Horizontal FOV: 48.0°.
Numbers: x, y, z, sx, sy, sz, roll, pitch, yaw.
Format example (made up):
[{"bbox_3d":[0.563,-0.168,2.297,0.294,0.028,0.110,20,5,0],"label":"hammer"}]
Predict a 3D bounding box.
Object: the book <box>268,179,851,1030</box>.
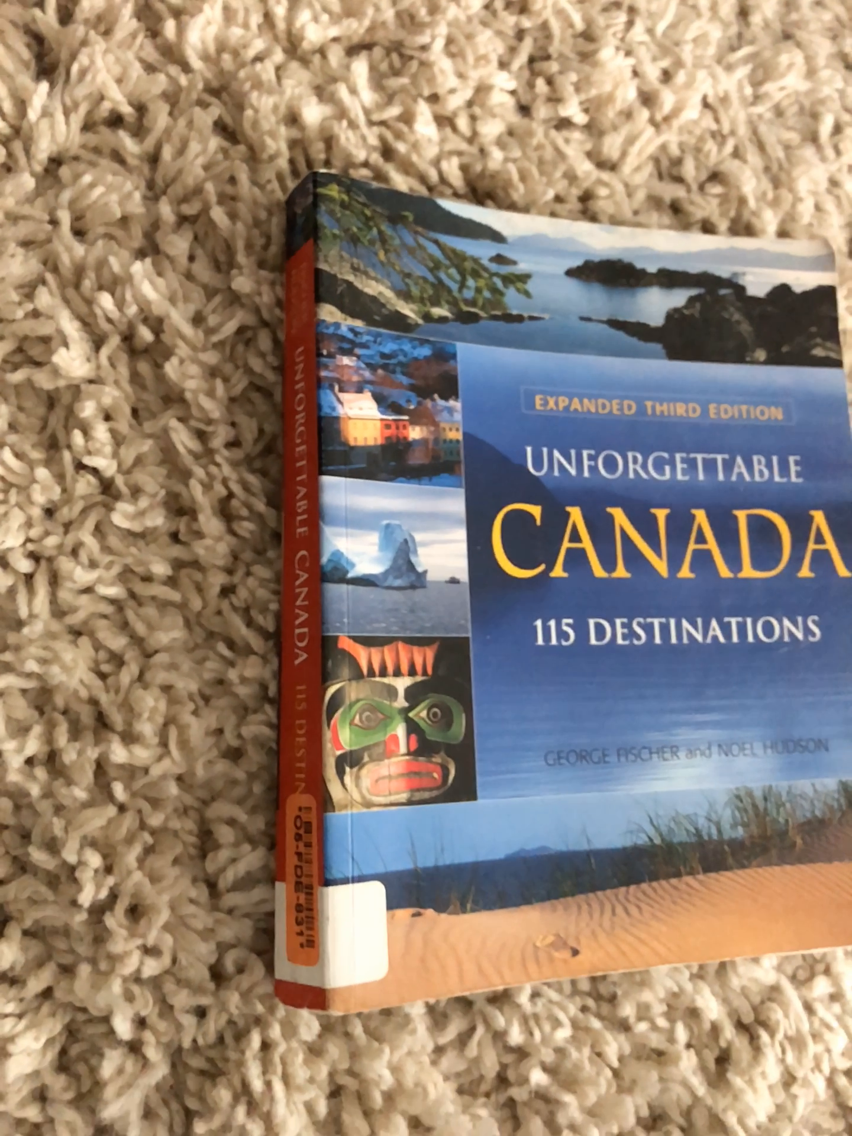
[{"bbox_3d":[0.053,0.007,0.308,0.200,0.040,0.234,1,81,-16],"label":"book"}]
